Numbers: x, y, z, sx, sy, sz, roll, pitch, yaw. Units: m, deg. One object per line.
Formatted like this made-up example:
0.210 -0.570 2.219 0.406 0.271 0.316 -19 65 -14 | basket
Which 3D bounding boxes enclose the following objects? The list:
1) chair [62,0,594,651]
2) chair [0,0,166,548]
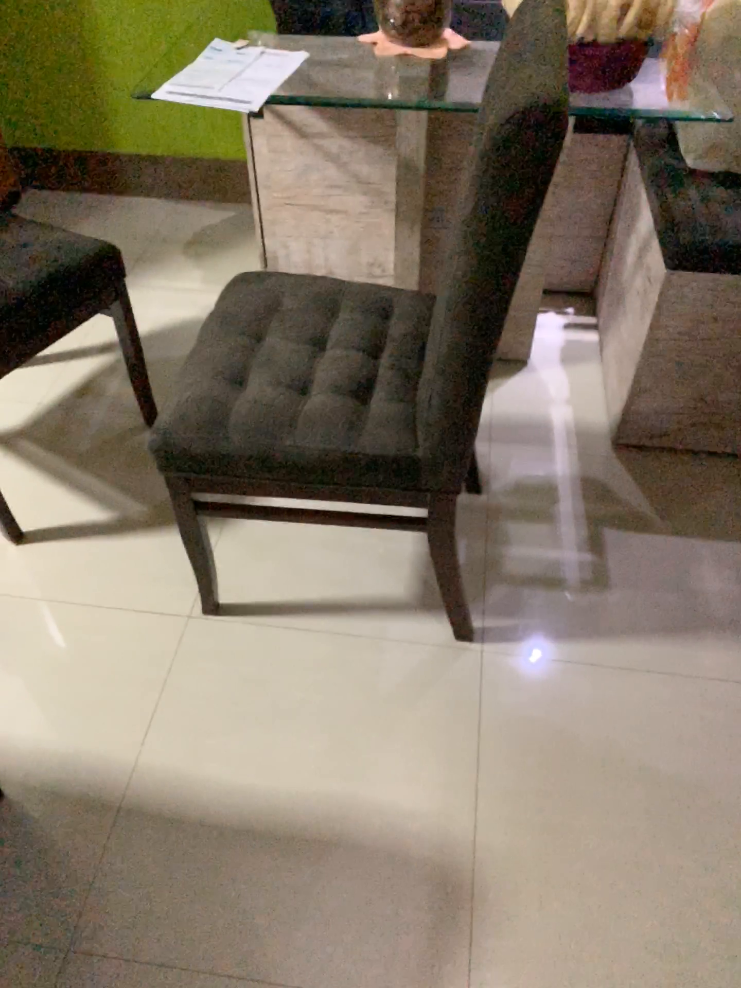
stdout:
-0.016 -0.251 1.330 0.570 0.971 0.525 6 46 6 | chair
-0.891 -0.480 1.538 0.571 0.981 0.494 22 50 20 | chair
